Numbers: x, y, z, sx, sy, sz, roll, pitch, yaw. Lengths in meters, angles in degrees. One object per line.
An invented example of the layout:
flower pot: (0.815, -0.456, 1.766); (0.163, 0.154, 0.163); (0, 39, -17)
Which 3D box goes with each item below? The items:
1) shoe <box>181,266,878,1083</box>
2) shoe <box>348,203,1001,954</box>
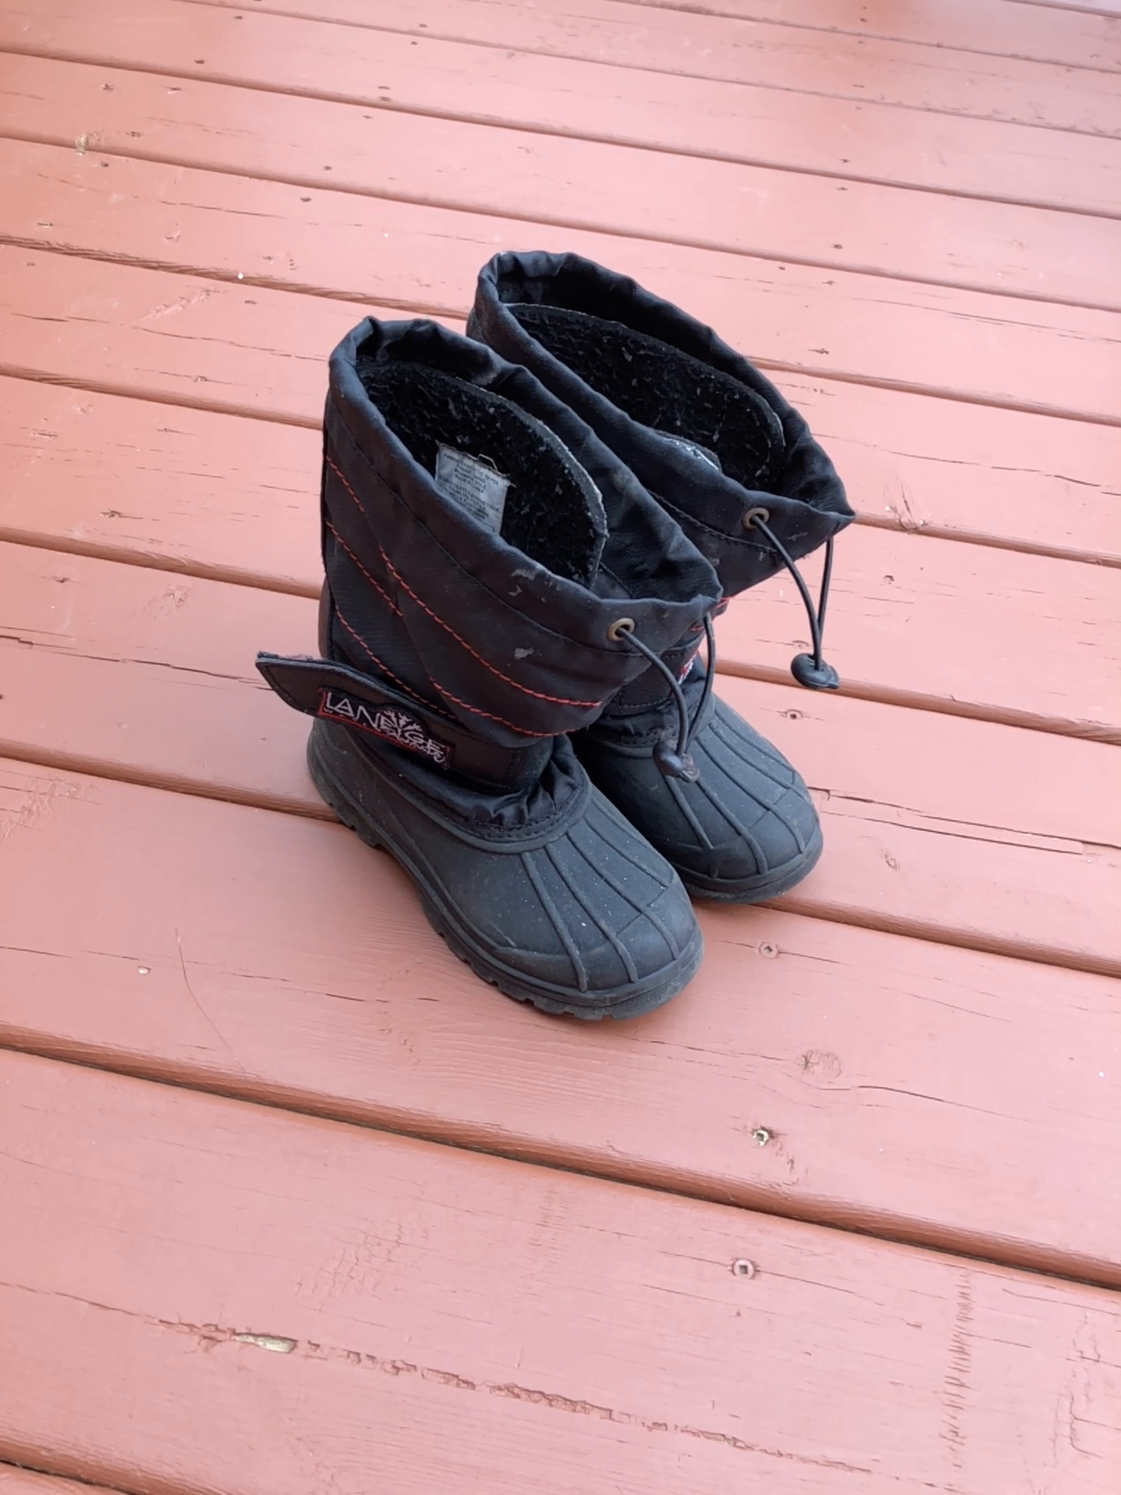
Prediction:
shoe: (-0.021, -0.021, 0.481); (0.210, 0.229, 0.100); (37, 58, 23)
shoe: (0.030, -0.063, 0.522); (0.210, 0.229, 0.100); (33, 56, 21)
